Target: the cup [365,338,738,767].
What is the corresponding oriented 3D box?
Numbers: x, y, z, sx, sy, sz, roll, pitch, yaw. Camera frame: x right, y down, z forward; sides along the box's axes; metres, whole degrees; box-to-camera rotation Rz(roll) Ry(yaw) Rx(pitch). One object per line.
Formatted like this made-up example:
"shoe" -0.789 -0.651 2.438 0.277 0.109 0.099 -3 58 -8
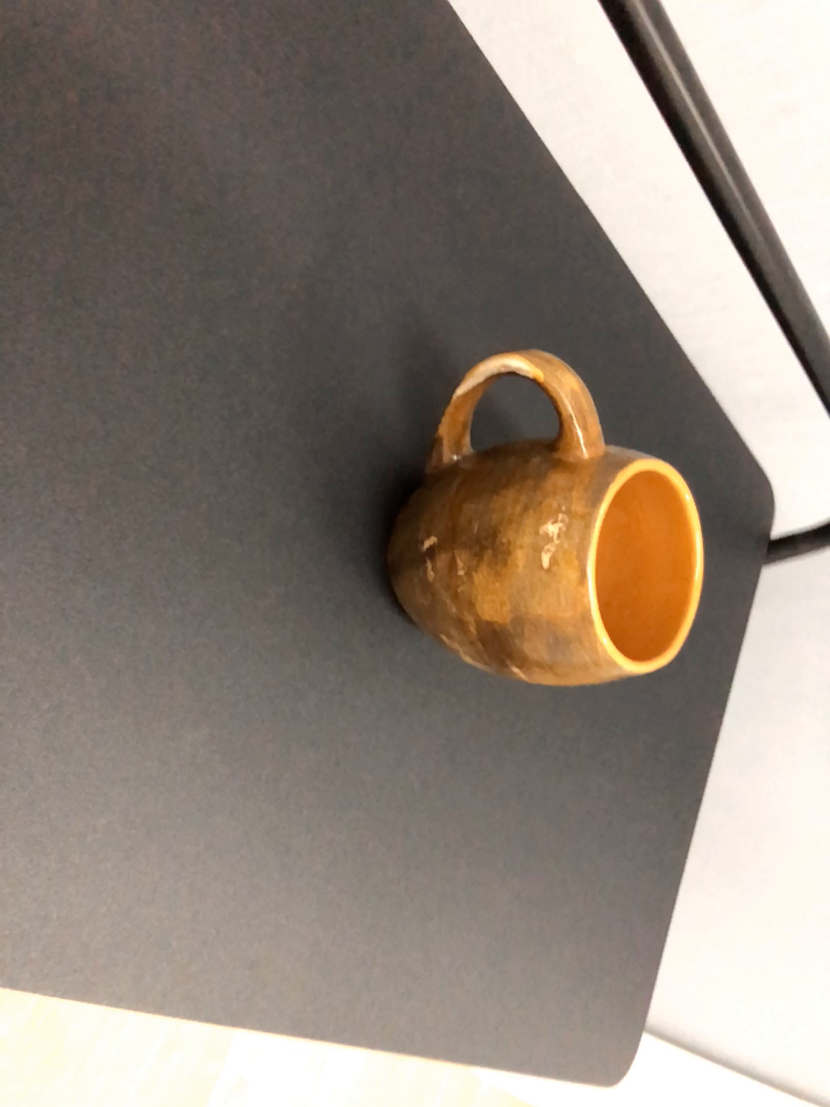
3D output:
"cup" 0.055 -0.007 0.349 0.093 0.092 0.131 -18 105 -45
